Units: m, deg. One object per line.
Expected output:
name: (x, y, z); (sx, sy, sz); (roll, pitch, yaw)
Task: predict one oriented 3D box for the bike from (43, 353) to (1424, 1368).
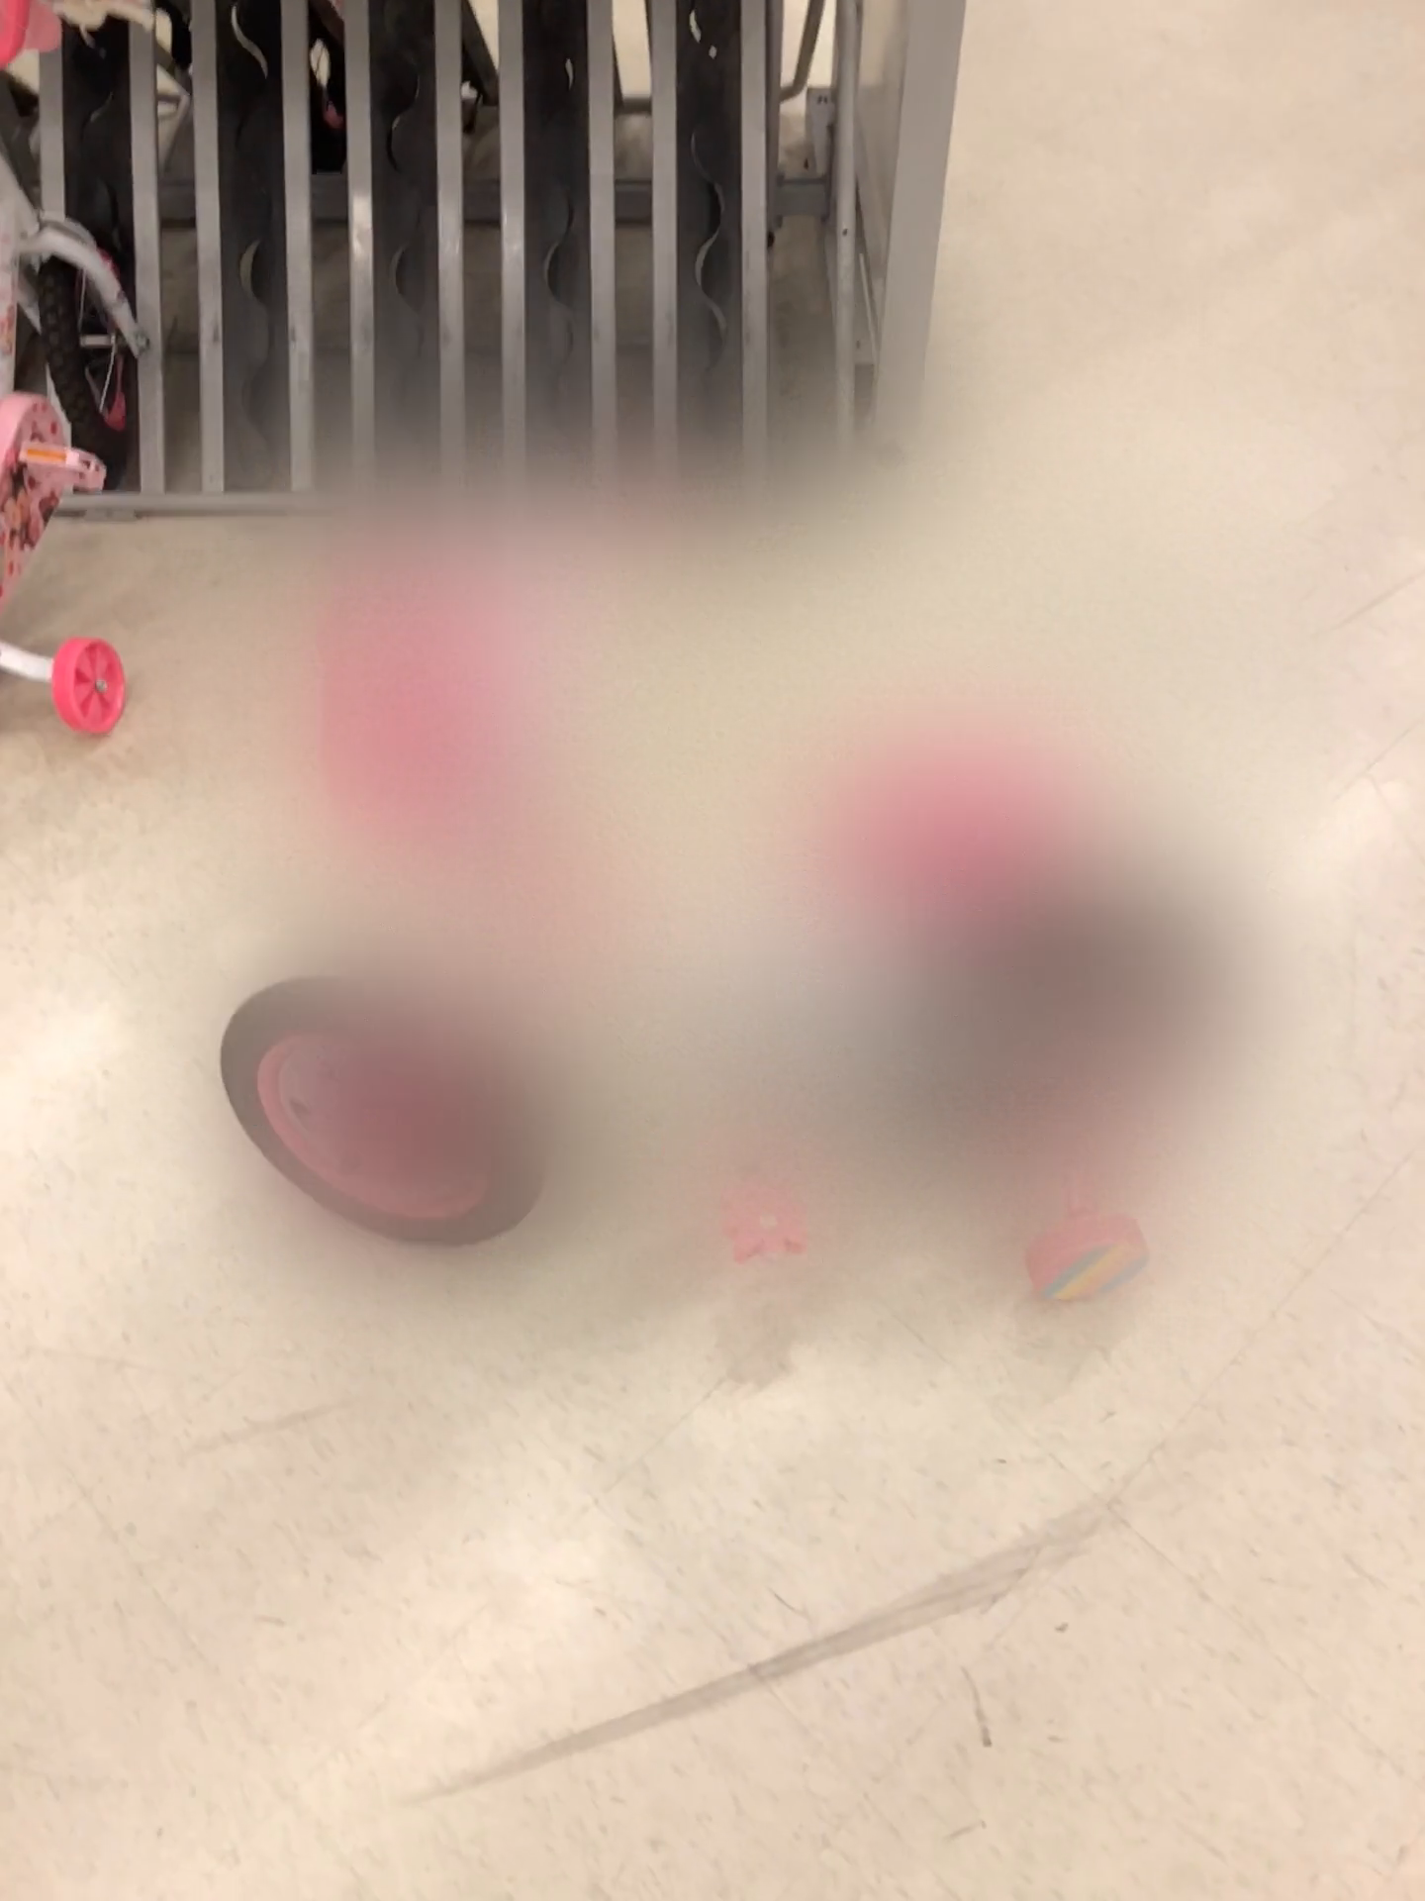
bike: (0.017, -0.036, 1.280); (0.878, 0.632, 0.459); (-6, 53, -1)
